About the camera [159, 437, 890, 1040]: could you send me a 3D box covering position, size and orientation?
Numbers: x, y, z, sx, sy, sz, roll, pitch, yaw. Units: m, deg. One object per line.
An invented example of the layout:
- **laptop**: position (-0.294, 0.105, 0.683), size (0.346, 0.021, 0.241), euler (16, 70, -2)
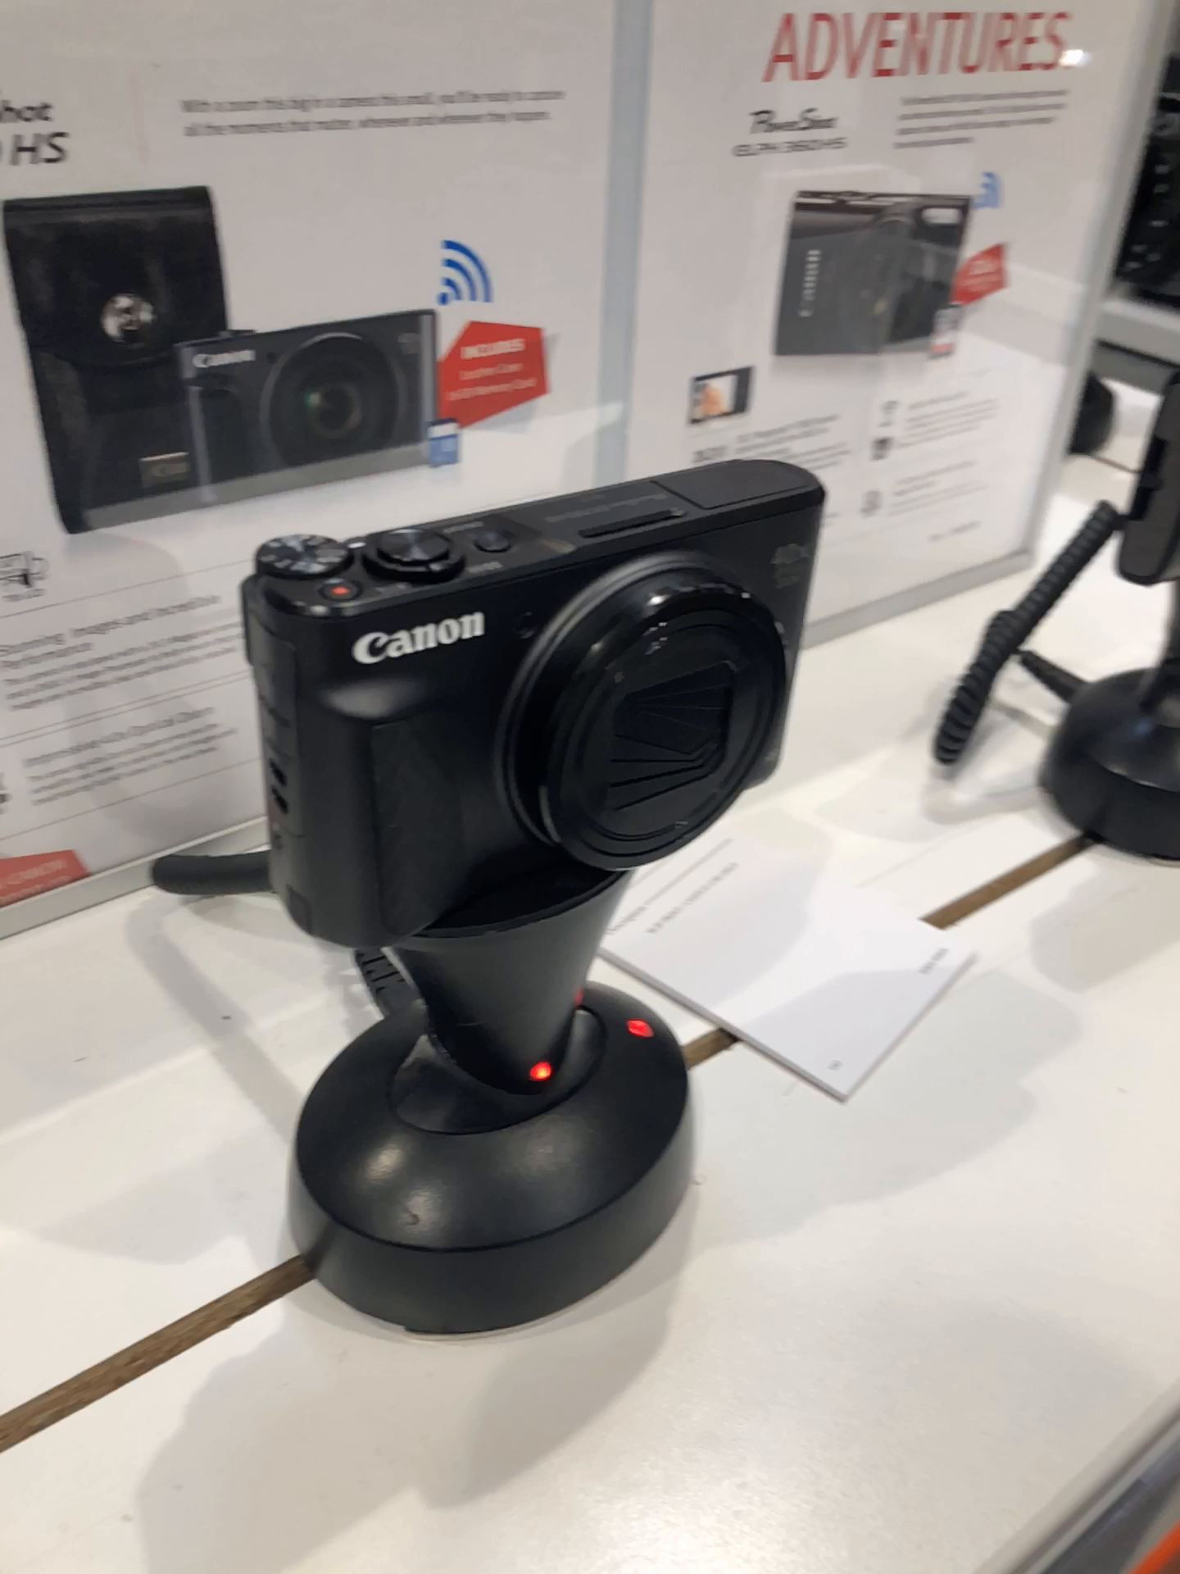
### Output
- **camera**: position (-0.008, -0.015, 0.237), size (0.120, 0.070, 0.040), euler (-19, 40, -31)
